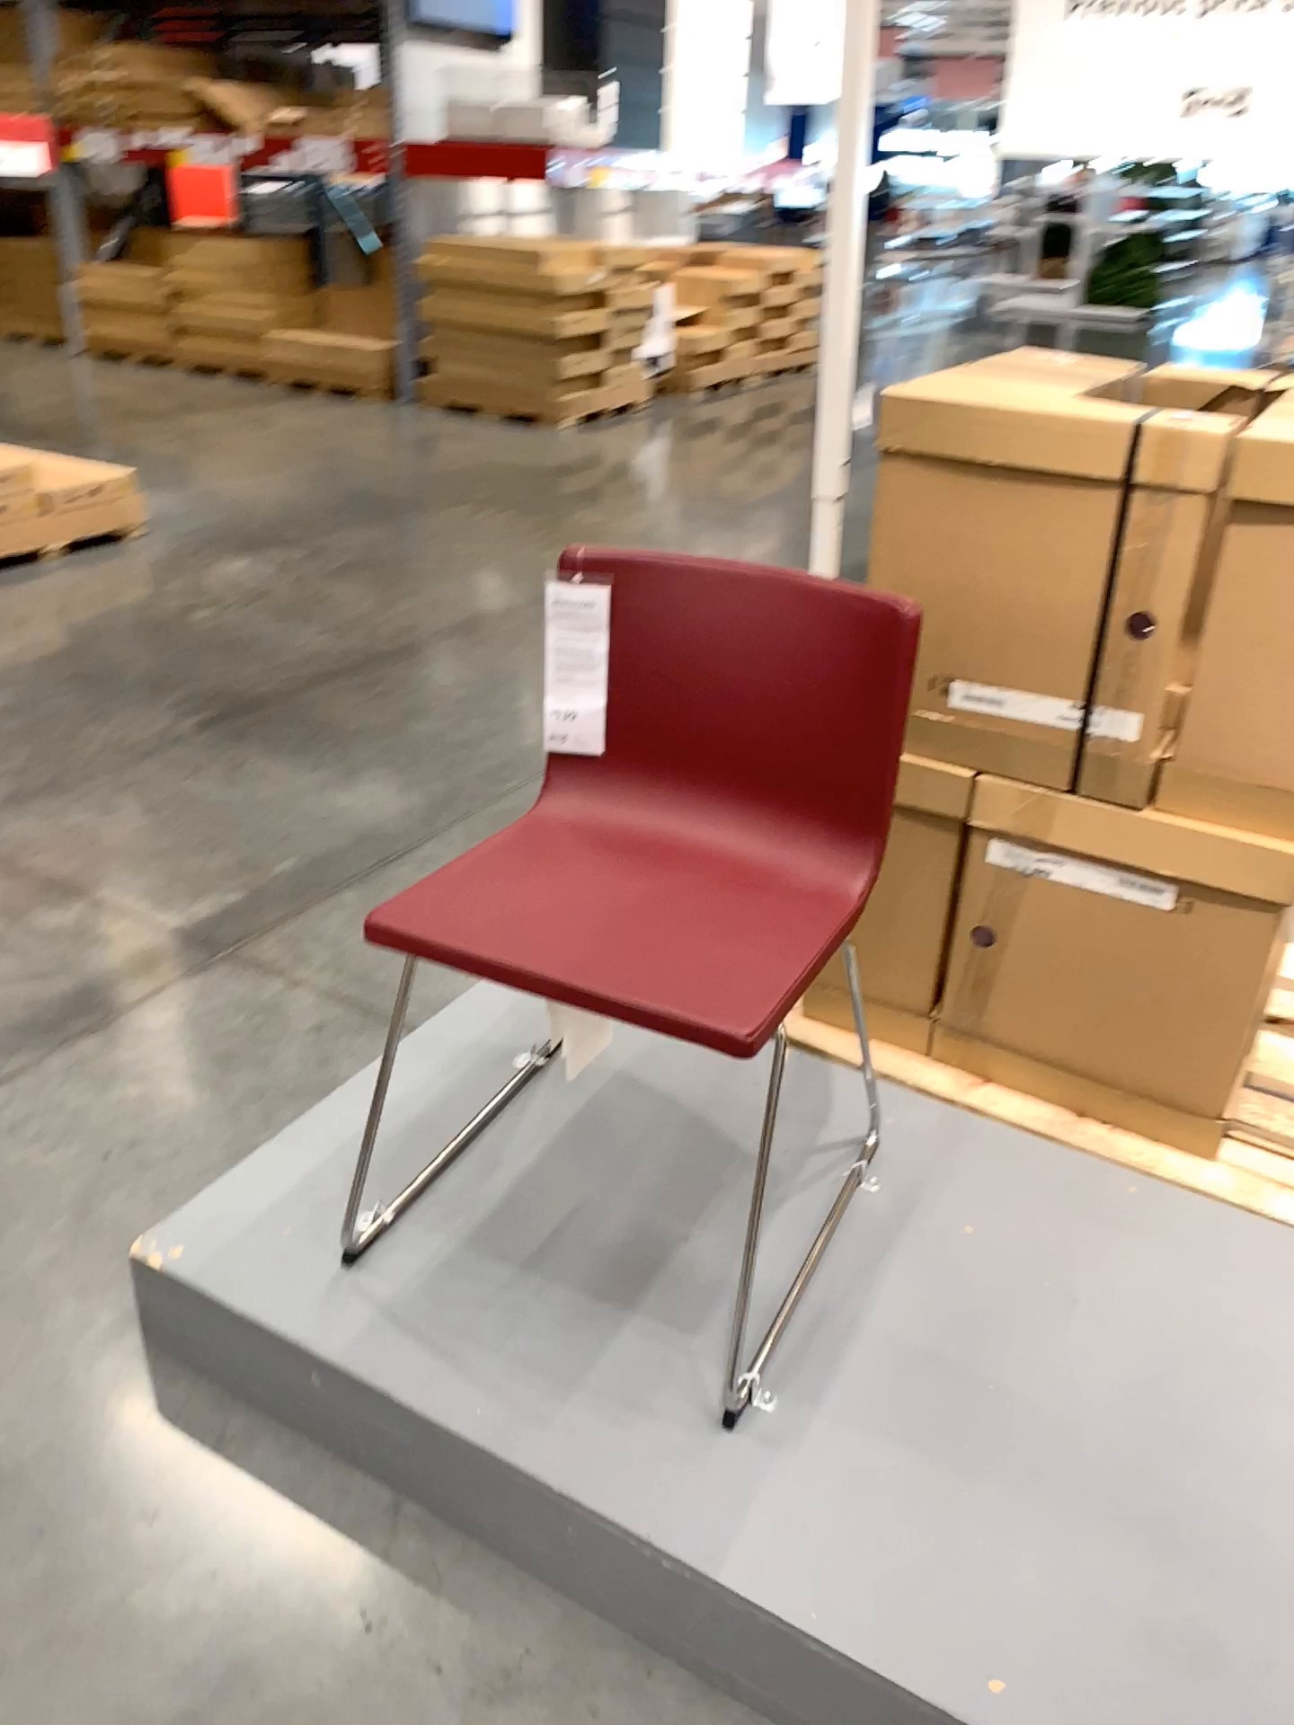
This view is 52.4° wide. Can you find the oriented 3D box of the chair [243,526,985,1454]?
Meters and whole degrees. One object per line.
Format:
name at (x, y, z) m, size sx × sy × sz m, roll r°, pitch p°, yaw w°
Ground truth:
chair at (-0.012, 0.085, 1.447) m, size 0.531 × 0.726 × 0.552 m, roll 15°, pitch 30°, yaw 22°
